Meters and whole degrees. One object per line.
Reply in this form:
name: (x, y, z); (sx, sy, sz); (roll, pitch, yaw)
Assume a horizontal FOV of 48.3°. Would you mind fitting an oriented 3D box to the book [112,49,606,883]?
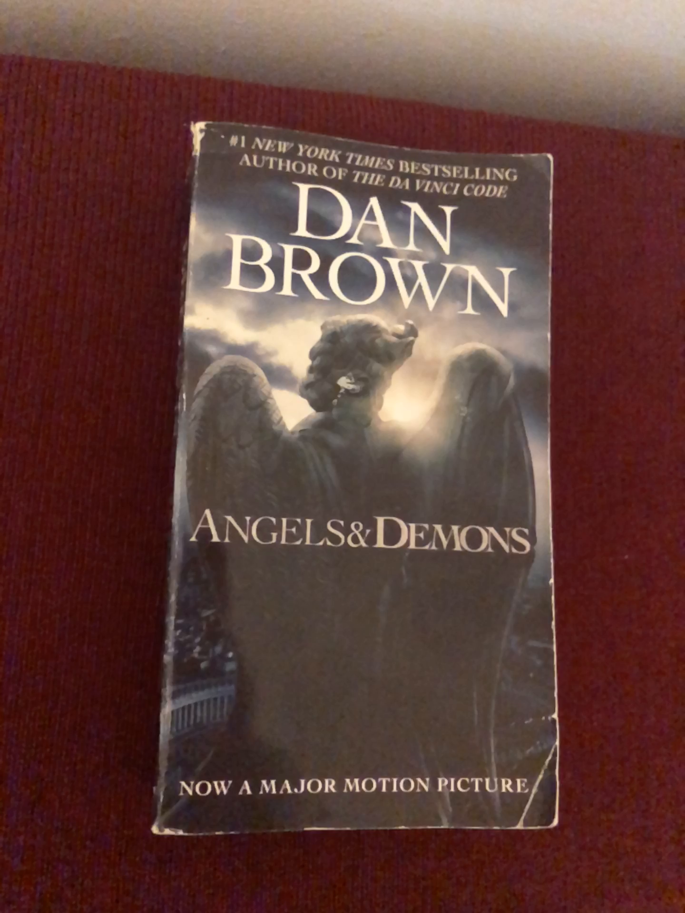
book: (0.005, -0.001, 0.219); (0.120, 0.040, 0.210); (2, 81, -8)
